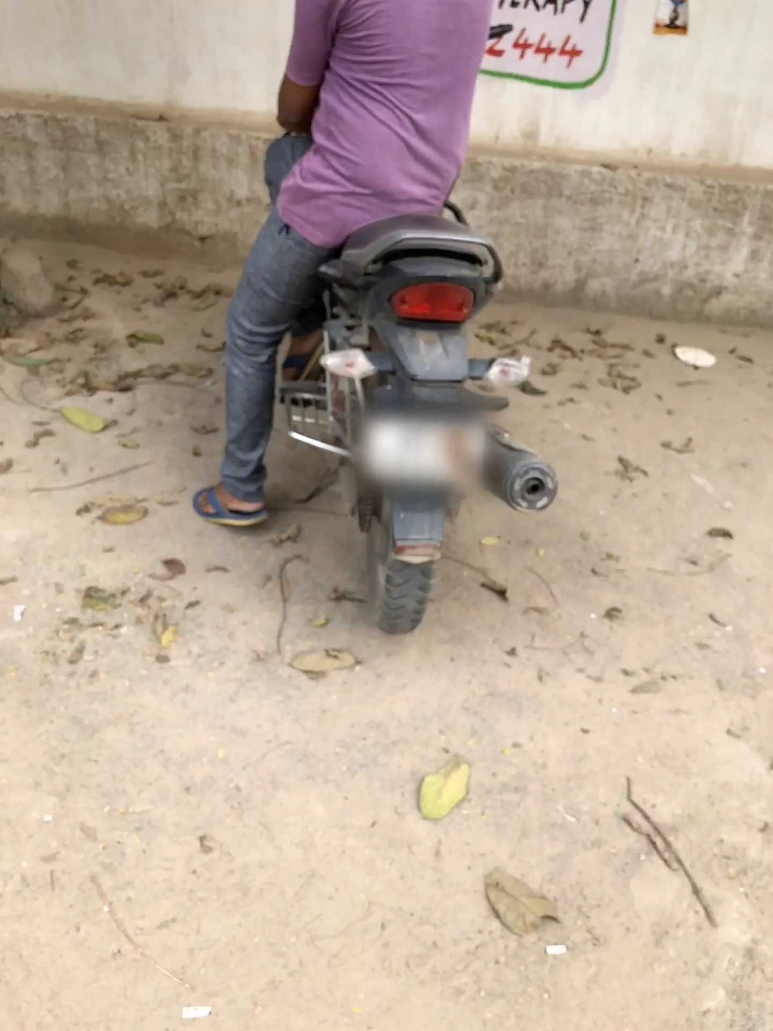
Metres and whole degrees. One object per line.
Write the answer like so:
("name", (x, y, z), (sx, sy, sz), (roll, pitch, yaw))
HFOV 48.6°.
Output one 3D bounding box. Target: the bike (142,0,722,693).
("bike", (-0.156, -0.689, 2.239), (0.825, 1.190, 1.847), (-4, 35, -12))
